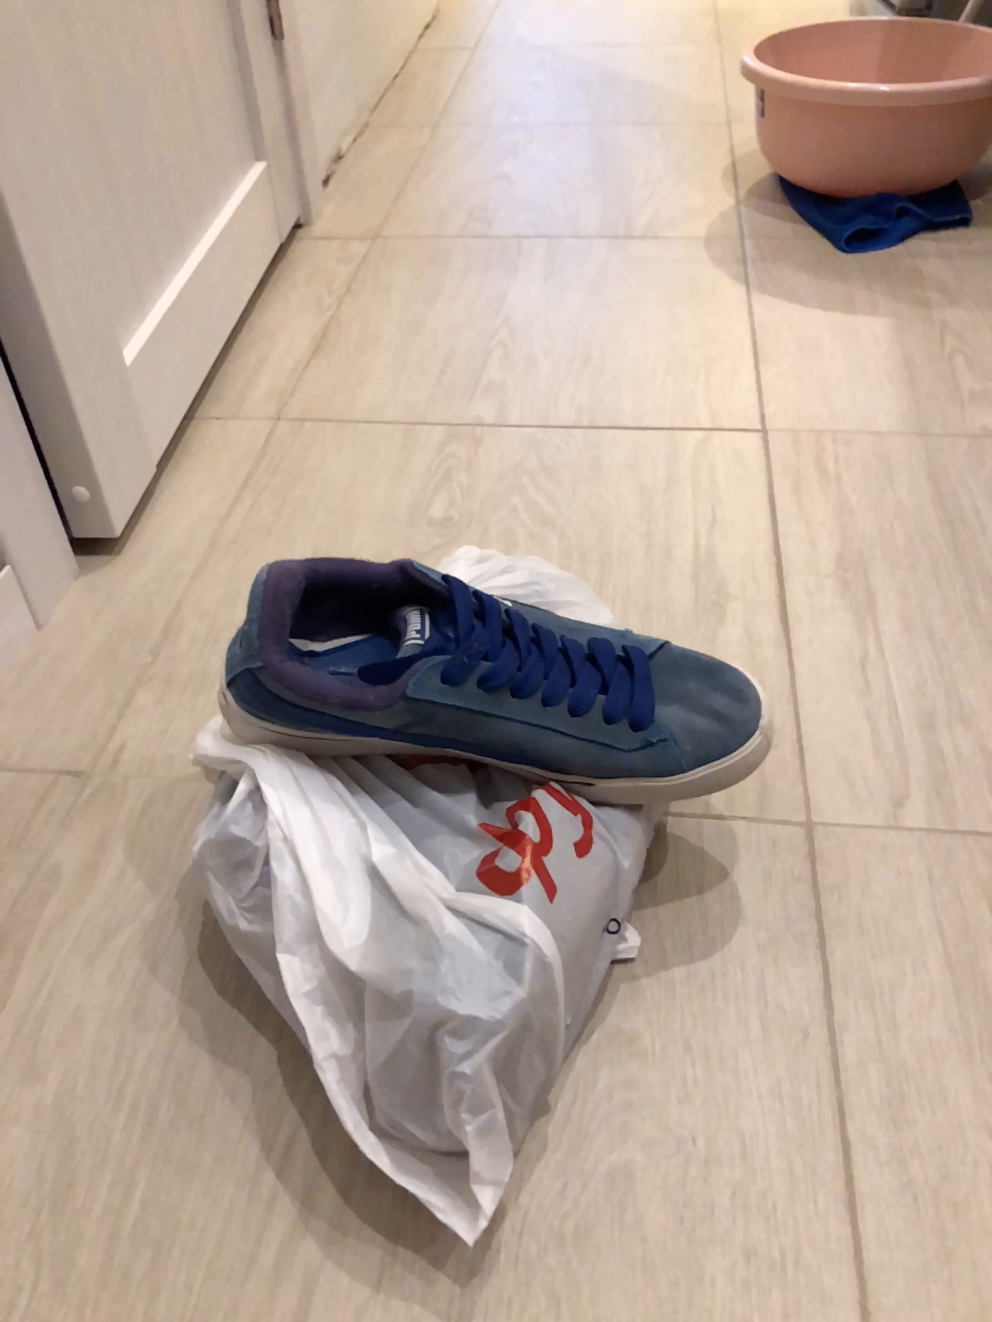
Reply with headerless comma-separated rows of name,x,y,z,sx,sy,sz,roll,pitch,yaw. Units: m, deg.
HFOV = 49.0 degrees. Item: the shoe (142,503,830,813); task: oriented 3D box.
shoe,-0.004,0.000,0.547,0.300,0.099,0.111,-1,48,2
